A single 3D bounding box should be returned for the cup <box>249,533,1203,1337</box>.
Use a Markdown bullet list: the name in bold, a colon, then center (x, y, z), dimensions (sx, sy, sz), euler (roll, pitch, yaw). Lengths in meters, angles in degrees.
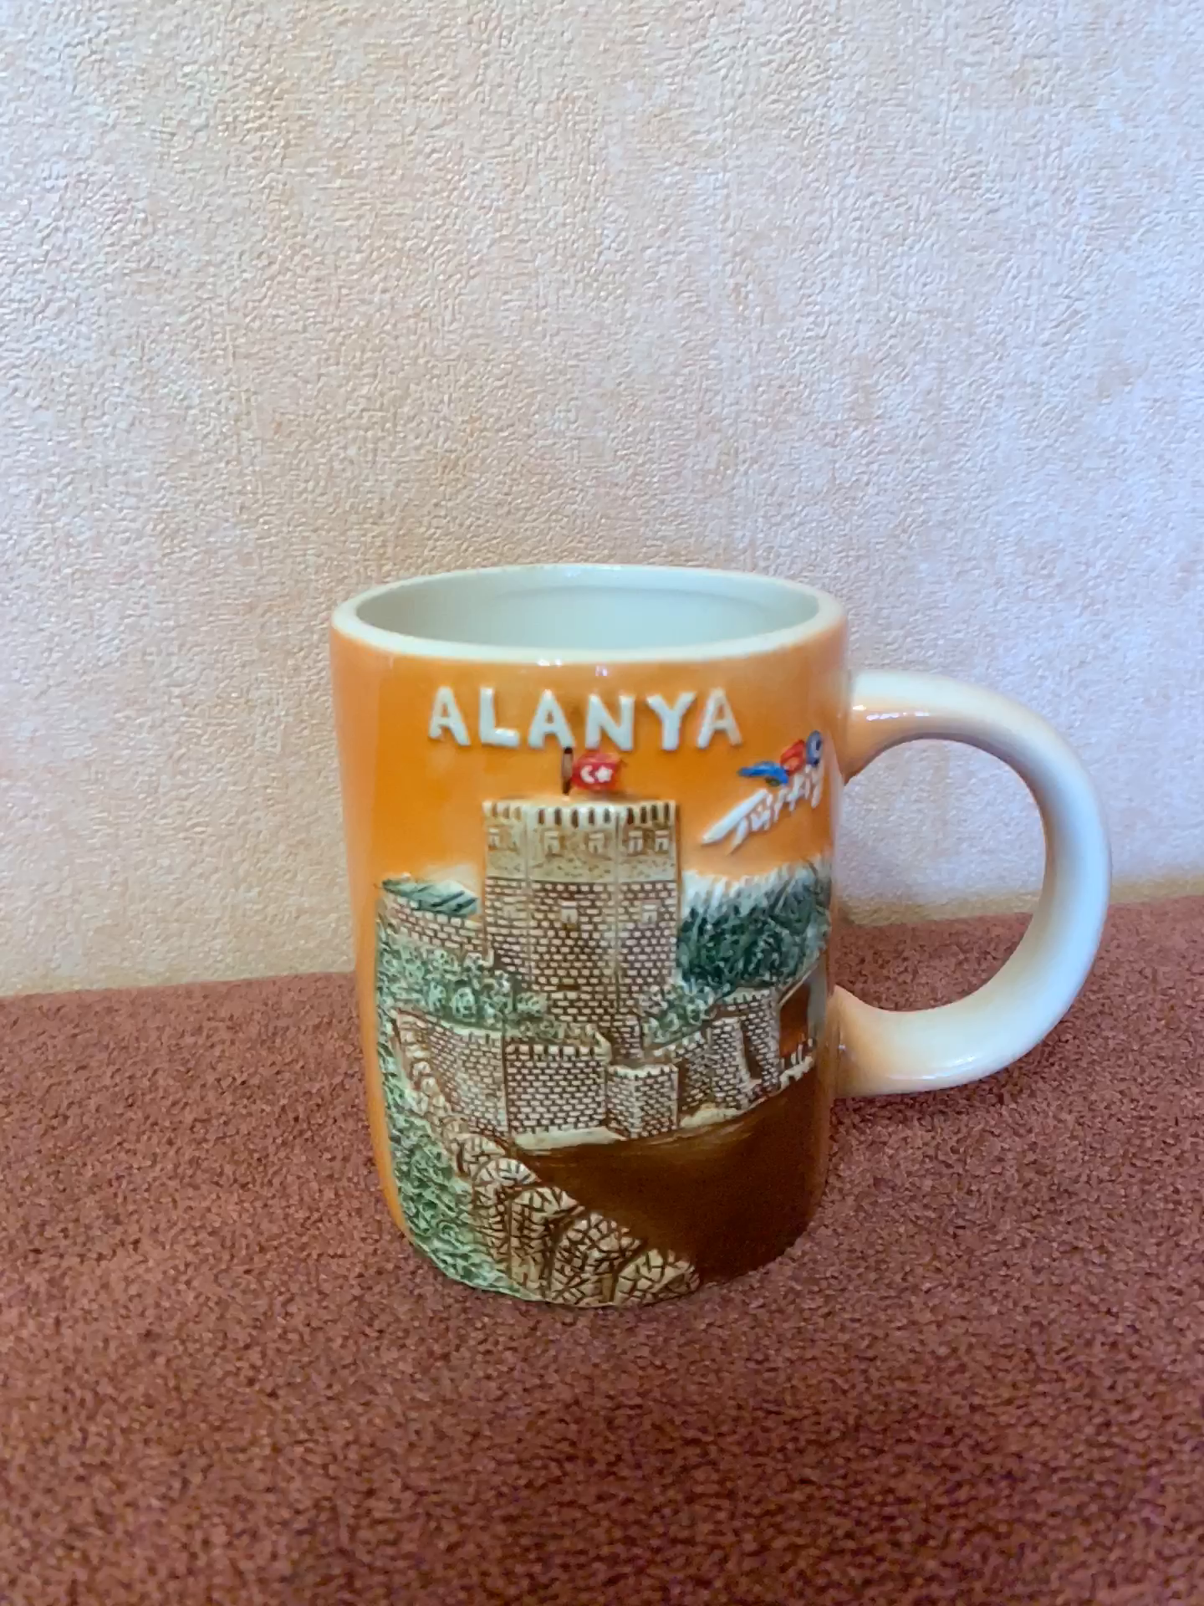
- **cup**: center (0.018, 0.014, 0.208), dimensions (0.119, 0.098, 0.088), euler (-2, 21, -1)
